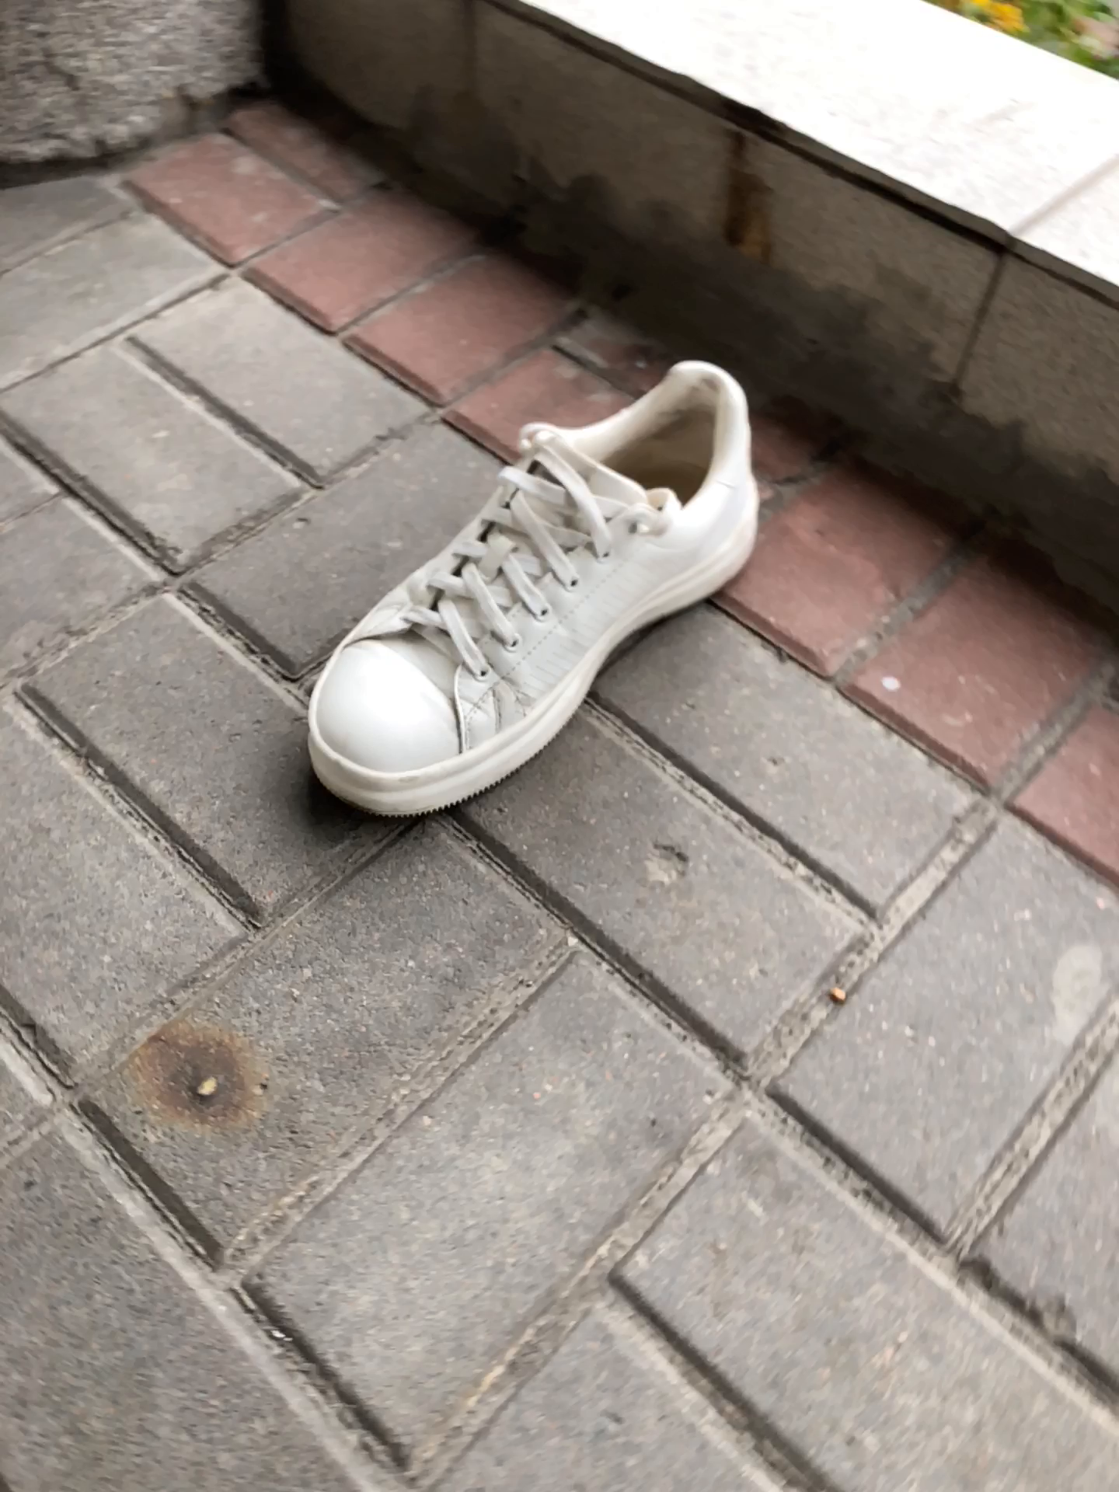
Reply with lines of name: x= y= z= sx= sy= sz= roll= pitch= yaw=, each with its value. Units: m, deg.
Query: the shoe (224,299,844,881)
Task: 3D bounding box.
shoe: x=-0.004 y=-0.086 z=0.607 sx=0.110 sy=0.119 sz=0.293 roll=40 pitch=60 yaw=20
